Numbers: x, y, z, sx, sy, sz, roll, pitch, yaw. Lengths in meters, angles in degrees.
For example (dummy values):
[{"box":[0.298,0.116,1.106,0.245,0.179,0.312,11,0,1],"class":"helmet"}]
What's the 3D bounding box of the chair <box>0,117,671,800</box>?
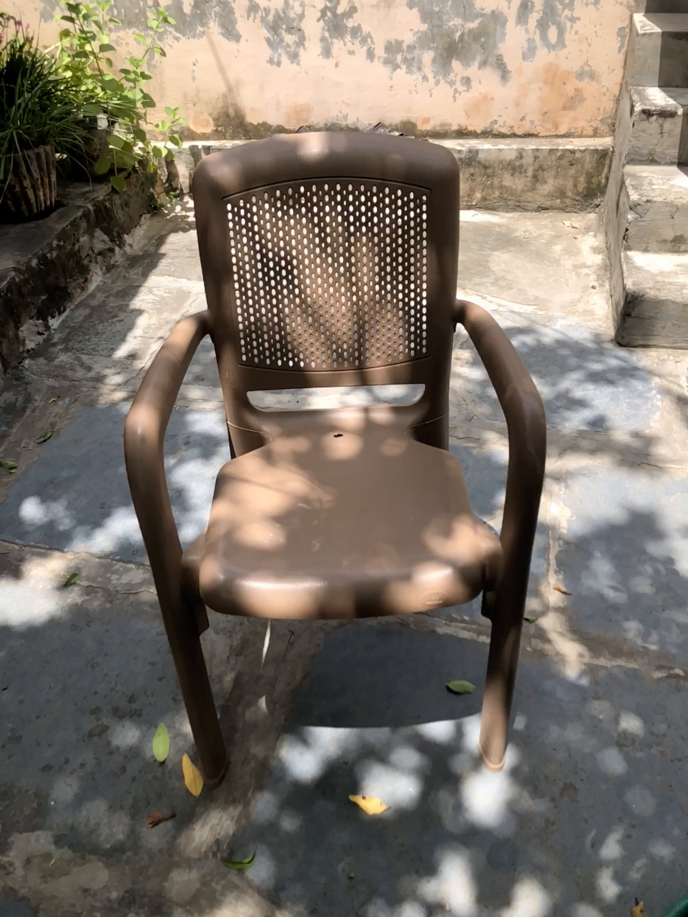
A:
[{"box":[-0.001,0.005,1.199,0.630,0.826,0.684,-2,39,2],"class":"chair"}]
